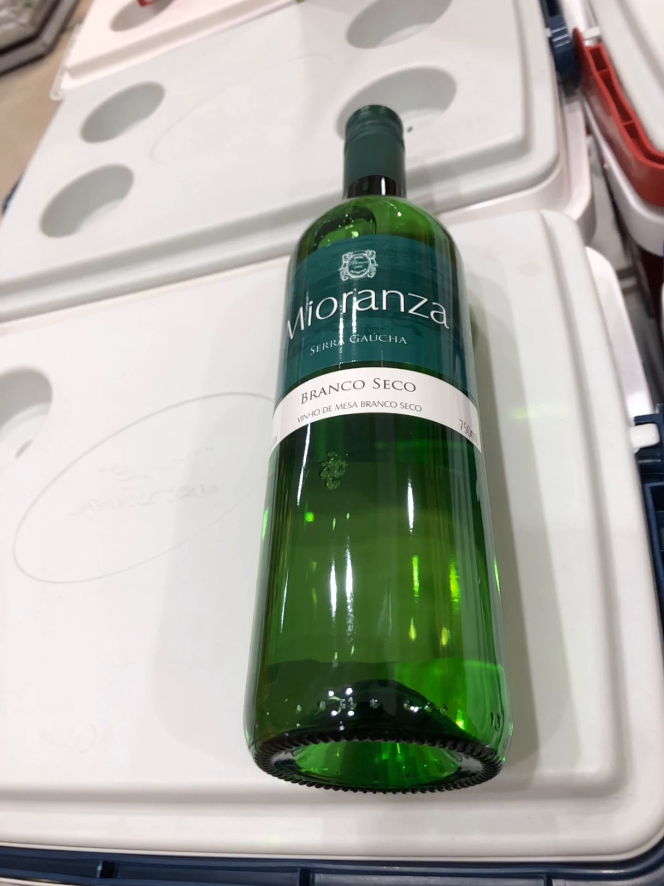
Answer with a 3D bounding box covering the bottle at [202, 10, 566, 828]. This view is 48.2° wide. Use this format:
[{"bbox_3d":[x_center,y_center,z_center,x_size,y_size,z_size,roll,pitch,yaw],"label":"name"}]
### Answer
[{"bbox_3d":[0.025,-0.048,0.307,0.080,0.070,0.362,-11,51,18],"label":"bottle"}]
